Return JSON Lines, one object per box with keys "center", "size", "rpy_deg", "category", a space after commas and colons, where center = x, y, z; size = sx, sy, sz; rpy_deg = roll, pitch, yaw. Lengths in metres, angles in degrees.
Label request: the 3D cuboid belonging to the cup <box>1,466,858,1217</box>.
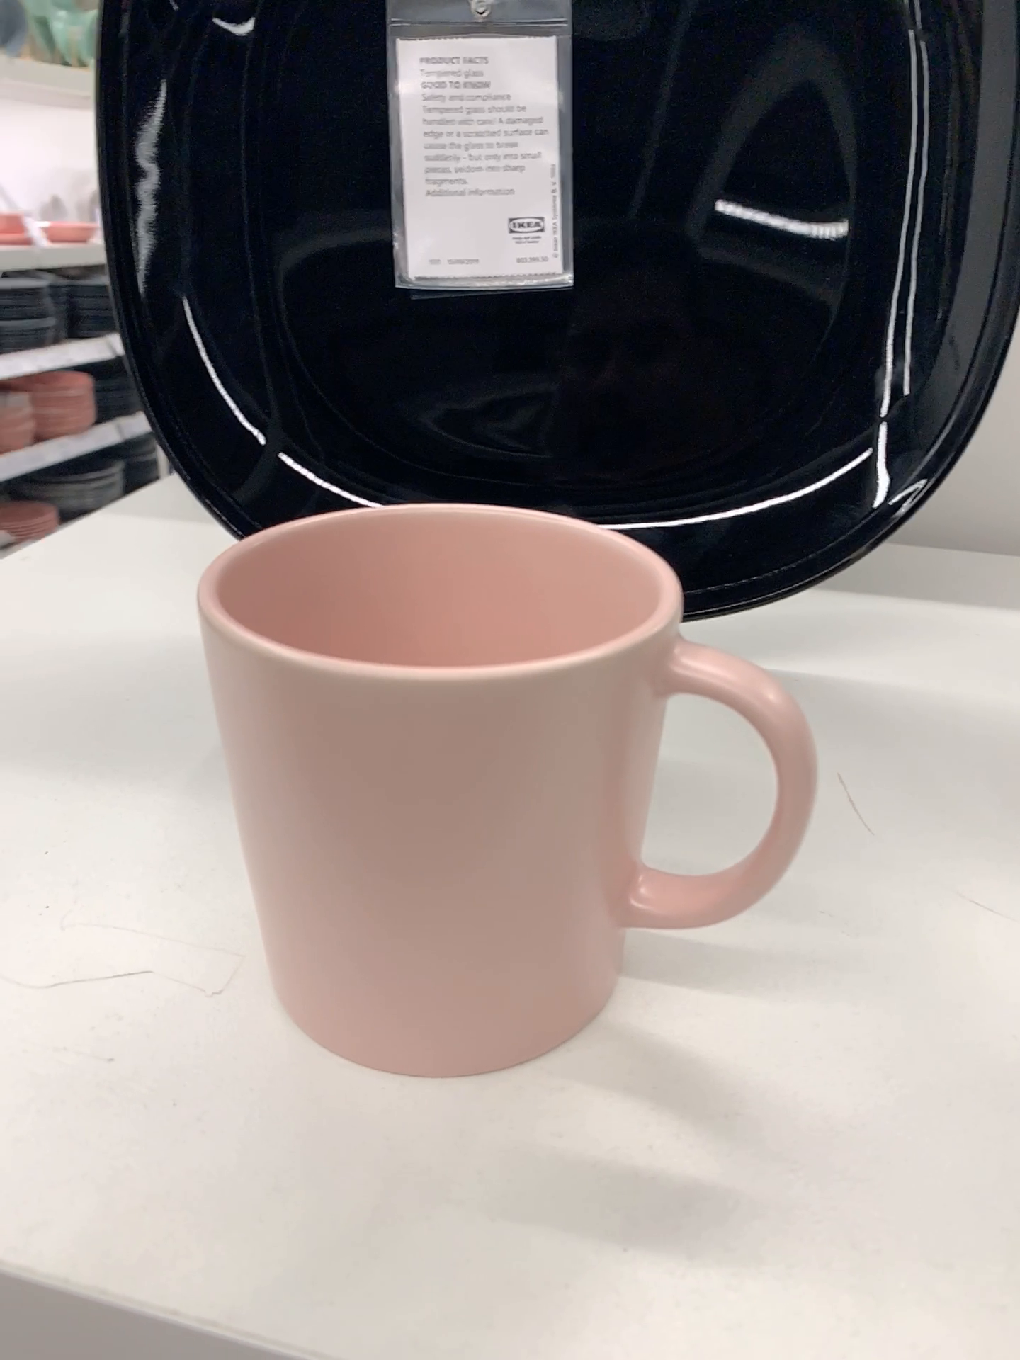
{"center": [-0.007, 0.015, 0.198], "size": [0.120, 0.080, 0.090], "rpy_deg": [11, 26, 19], "category": "cup"}
